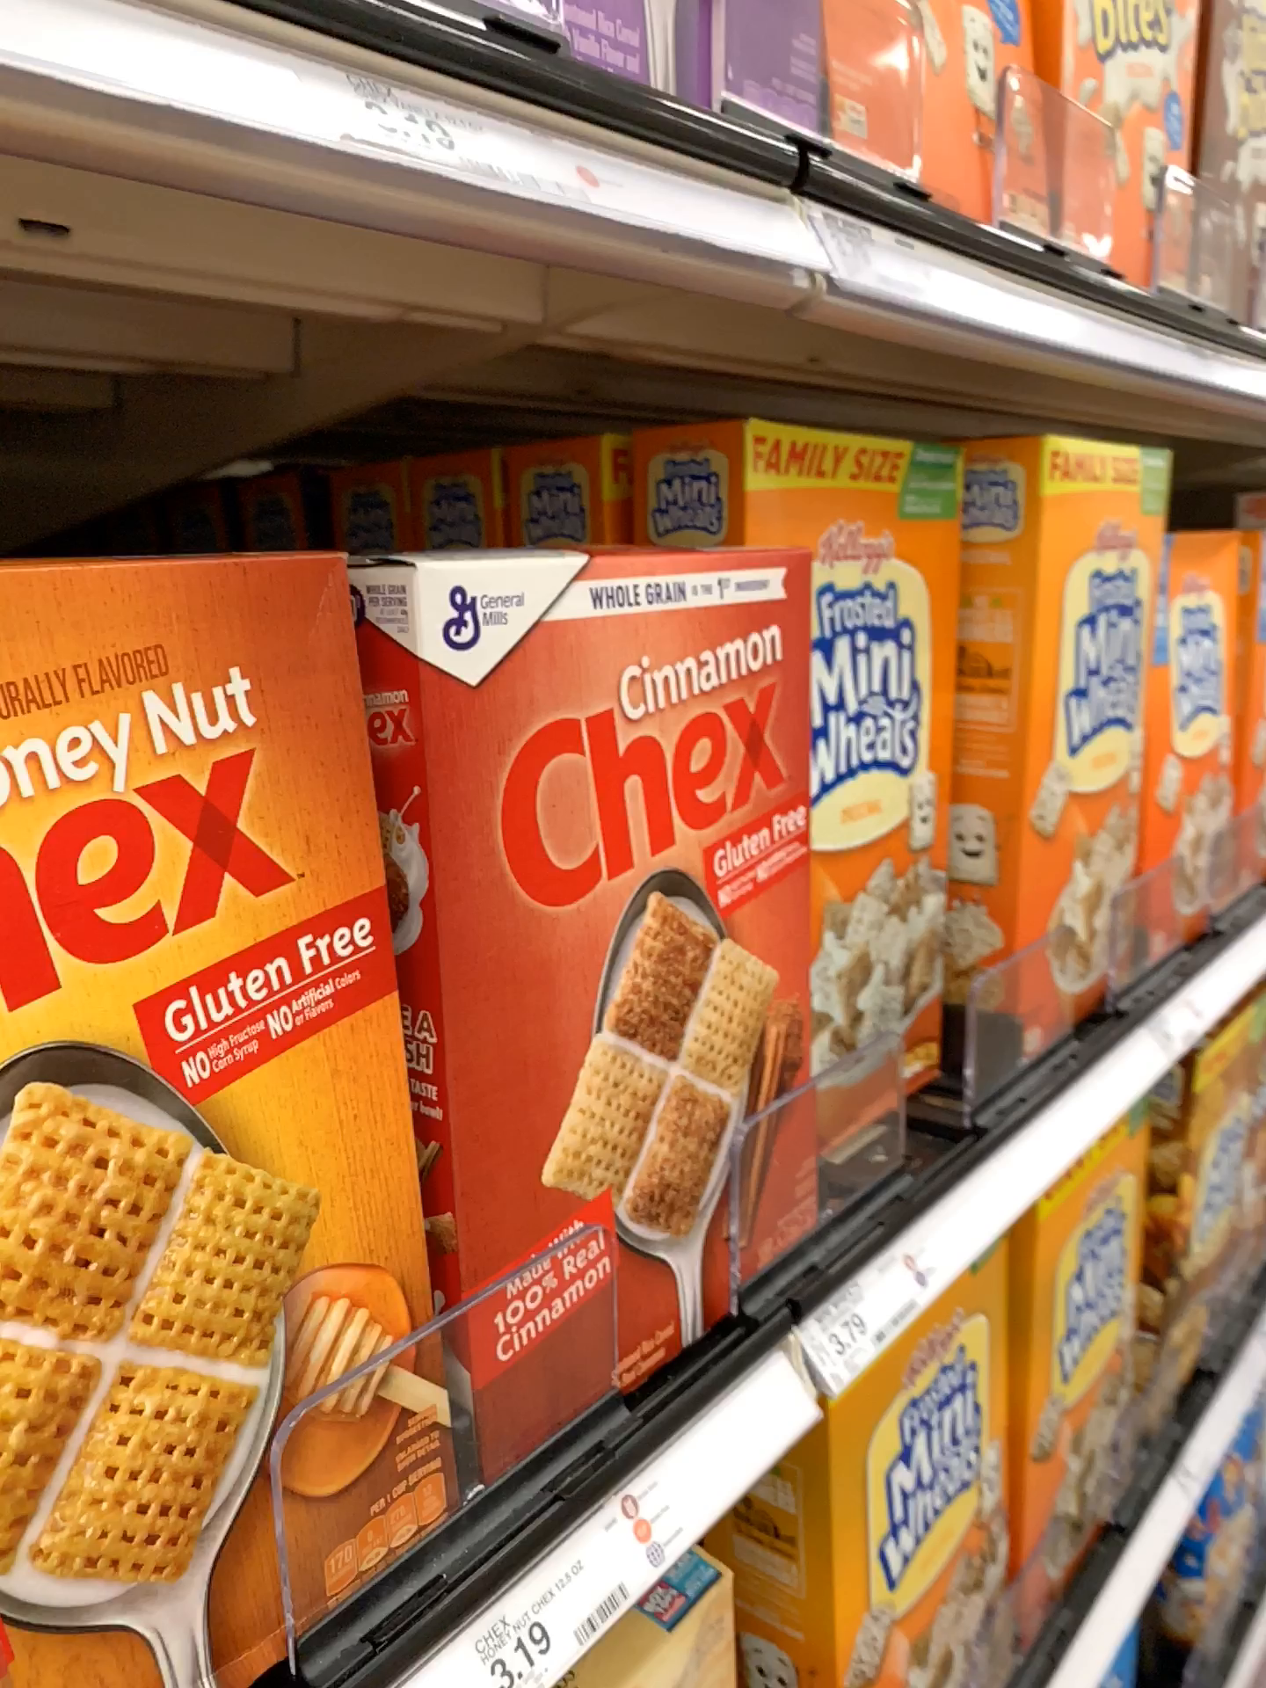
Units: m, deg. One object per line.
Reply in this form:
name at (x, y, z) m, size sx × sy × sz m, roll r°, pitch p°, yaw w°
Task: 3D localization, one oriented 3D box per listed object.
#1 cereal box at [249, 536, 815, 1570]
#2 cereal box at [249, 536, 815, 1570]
cereal box at (-0.016, 0.049, 0.458) m, size 0.060 × 0.299 × 0.200 m, roll 7°, pitch 15°, yaw 38°
cereal box at (-0.016, 0.049, 0.458) m, size 0.060 × 0.299 × 0.200 m, roll 7°, pitch 15°, yaw 38°
